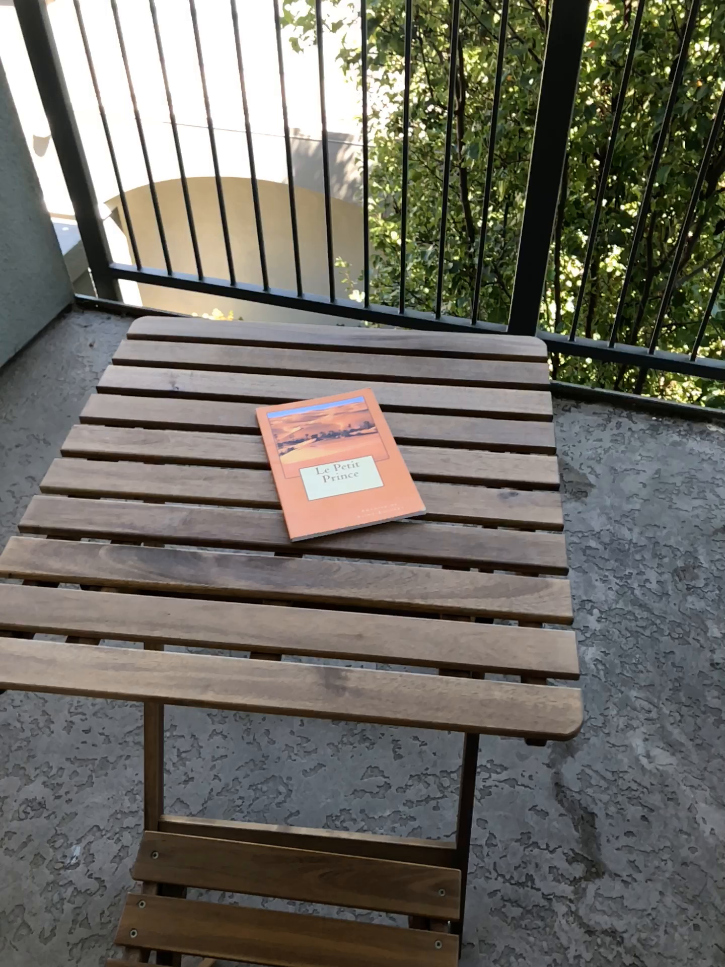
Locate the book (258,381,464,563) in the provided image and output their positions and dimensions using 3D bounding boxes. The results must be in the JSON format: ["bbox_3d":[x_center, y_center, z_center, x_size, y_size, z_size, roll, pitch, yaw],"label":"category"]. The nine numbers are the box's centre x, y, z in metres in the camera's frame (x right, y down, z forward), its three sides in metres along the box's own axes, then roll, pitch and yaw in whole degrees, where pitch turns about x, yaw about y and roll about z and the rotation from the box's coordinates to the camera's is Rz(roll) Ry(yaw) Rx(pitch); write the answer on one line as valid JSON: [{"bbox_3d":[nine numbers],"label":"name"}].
[{"bbox_3d":[-0.011,-0.024,0.923,0.180,0.010,0.251,-11,46,-10],"label":"book"}]
